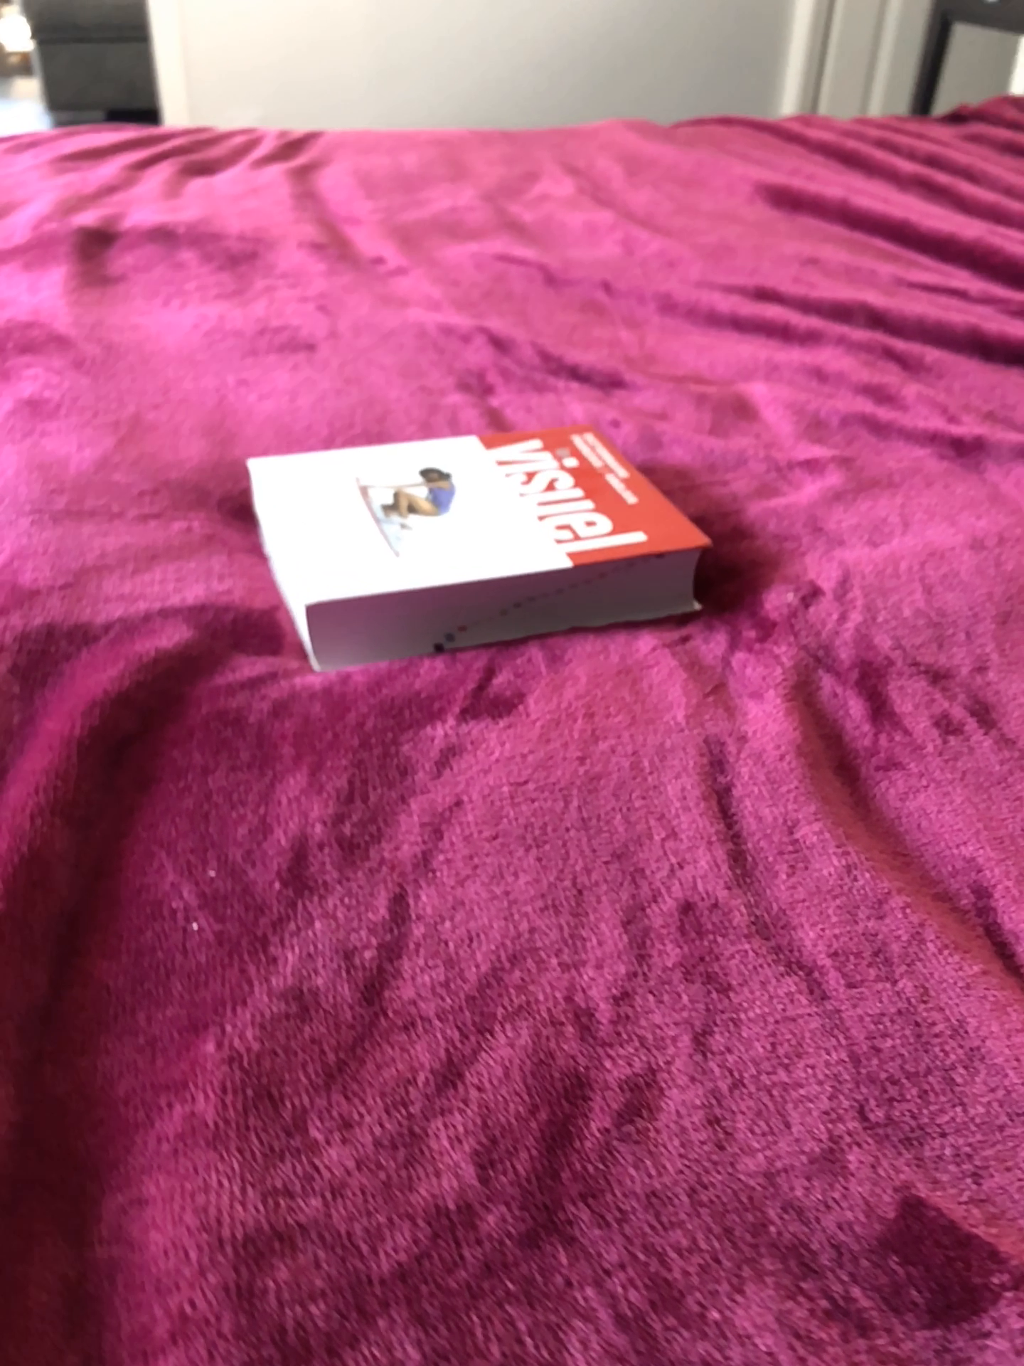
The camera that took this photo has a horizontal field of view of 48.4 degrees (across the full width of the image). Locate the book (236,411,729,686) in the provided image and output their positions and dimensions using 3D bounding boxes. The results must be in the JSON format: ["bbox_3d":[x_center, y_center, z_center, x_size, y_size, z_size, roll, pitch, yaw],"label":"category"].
[{"bbox_3d":[-0.019,-0.068,0.505,0.180,0.039,0.141,-9,37,-16],"label":"book"}]
